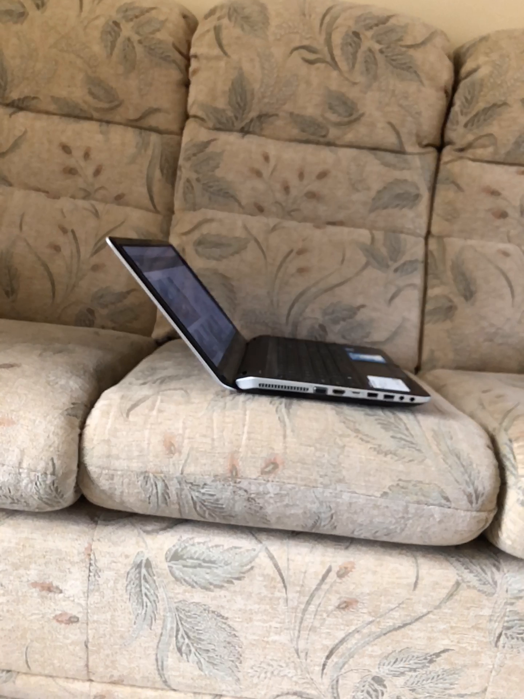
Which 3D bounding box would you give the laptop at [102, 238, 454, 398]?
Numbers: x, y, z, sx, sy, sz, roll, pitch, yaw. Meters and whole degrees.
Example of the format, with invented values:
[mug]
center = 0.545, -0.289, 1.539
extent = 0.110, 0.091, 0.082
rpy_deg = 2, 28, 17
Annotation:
[laptop]
center = 0.024, -0.063, 0.891
extent = 0.410, 0.151, 0.397
rpy_deg = 6, 10, 0
